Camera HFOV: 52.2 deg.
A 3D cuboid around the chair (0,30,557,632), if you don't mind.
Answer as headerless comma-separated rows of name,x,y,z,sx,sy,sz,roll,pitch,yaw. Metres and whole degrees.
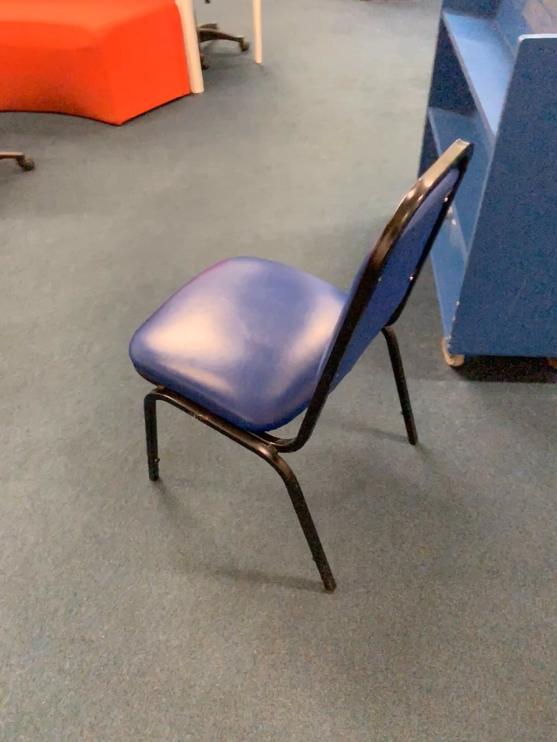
chair,0.034,-0.059,1.121,0.582,0.882,0.563,25,53,25
